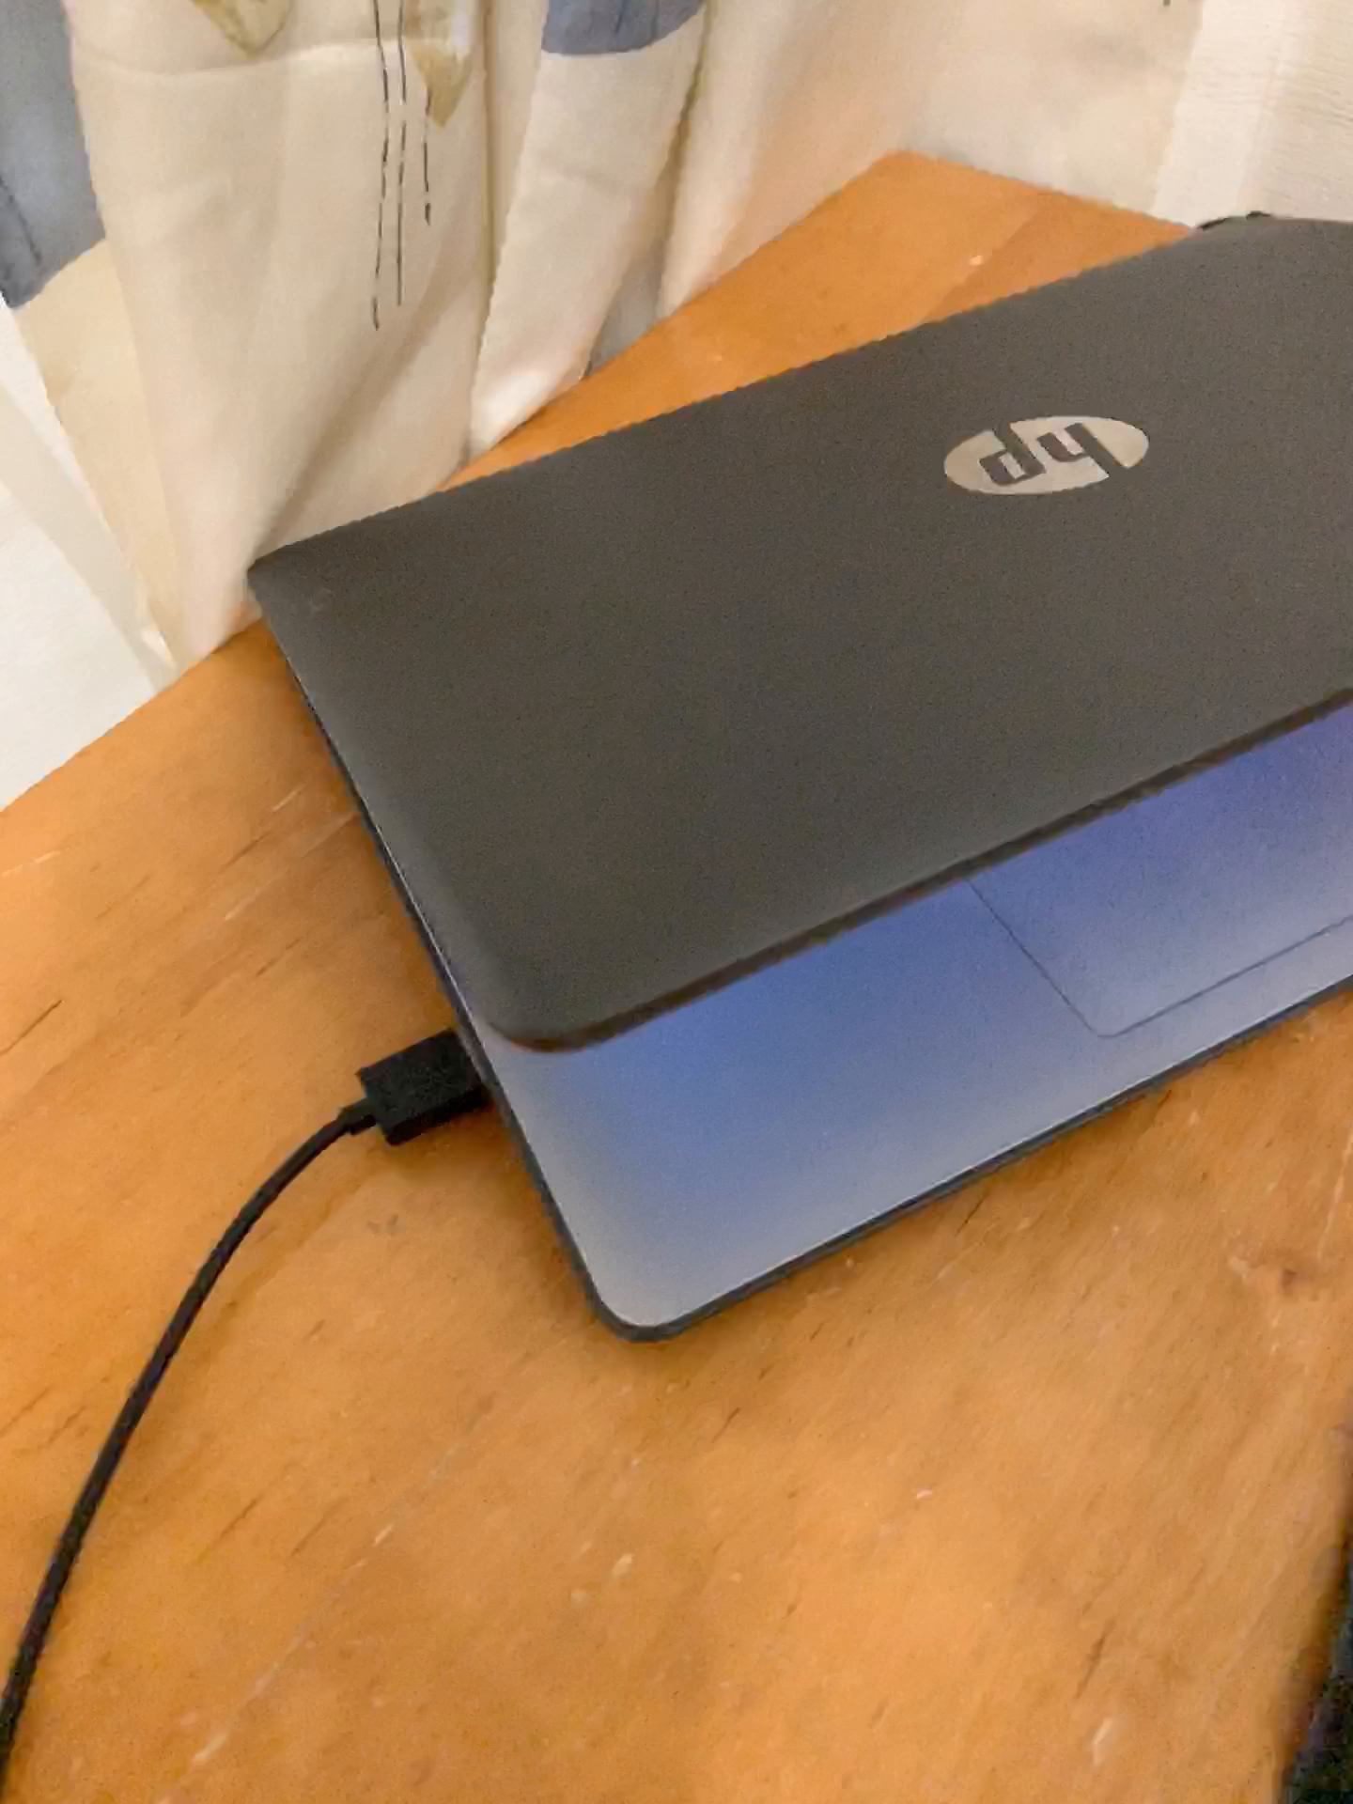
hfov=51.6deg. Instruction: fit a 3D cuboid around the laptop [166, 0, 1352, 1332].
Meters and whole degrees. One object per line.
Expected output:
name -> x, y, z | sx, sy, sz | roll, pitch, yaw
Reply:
laptop -> 0.069, -0.076, 0.264 | 0.268, 0.066, 0.191 | -23, 54, -14
